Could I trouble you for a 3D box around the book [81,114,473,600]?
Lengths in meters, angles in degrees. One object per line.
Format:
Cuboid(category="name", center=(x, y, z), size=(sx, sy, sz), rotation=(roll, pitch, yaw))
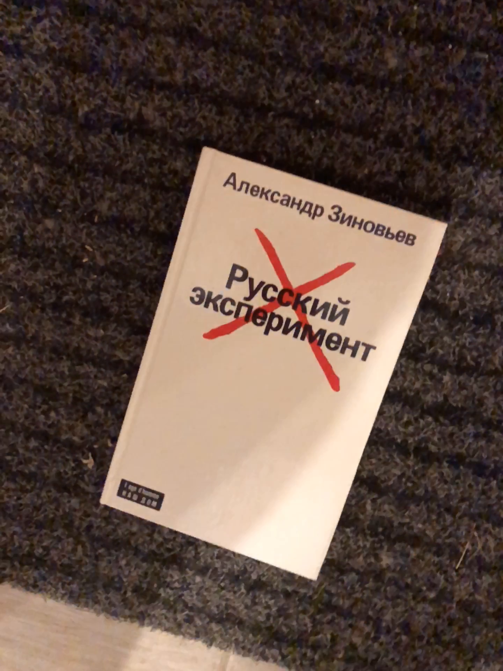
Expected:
Cuboid(category="book", center=(0.007, 0.012, 0.267), size=(0.120, 0.040, 0.190), rotation=(19, 99, 4))
